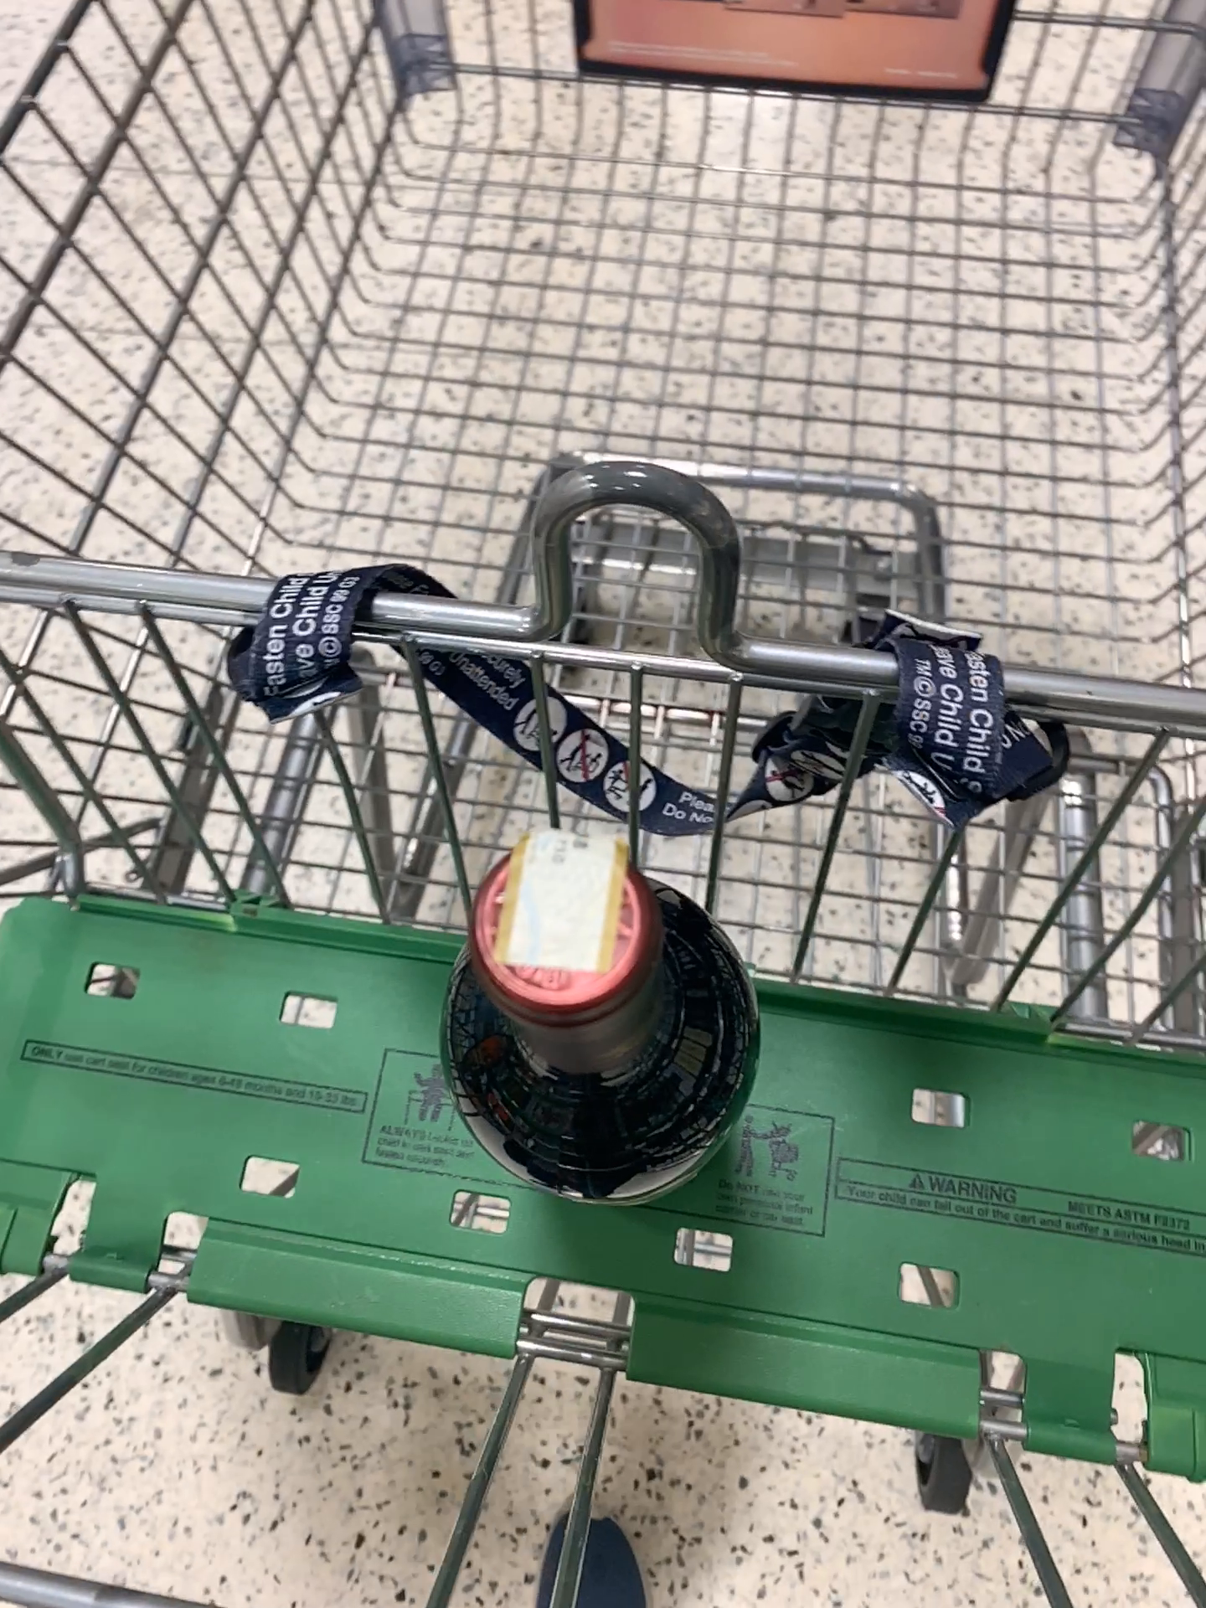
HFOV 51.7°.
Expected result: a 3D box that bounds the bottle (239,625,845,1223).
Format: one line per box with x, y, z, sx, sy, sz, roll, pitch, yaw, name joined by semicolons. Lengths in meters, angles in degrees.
0.000;0.057;0.323;0.080;0.269;0.080;-1;71;3;bottle
